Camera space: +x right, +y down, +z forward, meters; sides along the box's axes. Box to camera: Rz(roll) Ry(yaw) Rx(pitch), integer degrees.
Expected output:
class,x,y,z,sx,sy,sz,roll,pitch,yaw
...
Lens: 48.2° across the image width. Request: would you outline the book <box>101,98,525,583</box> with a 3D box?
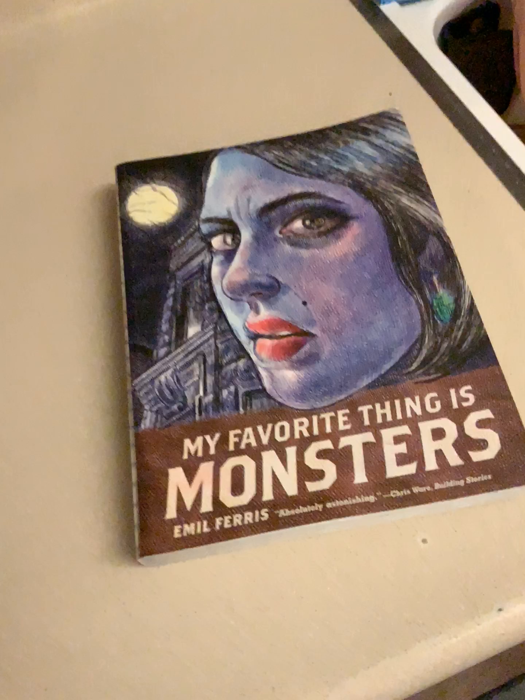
class,x,y,z,sx,sy,sz,roll,pitch,yaw
book,0.016,-0.026,0.348,0.200,0.040,0.270,-11,61,-2
